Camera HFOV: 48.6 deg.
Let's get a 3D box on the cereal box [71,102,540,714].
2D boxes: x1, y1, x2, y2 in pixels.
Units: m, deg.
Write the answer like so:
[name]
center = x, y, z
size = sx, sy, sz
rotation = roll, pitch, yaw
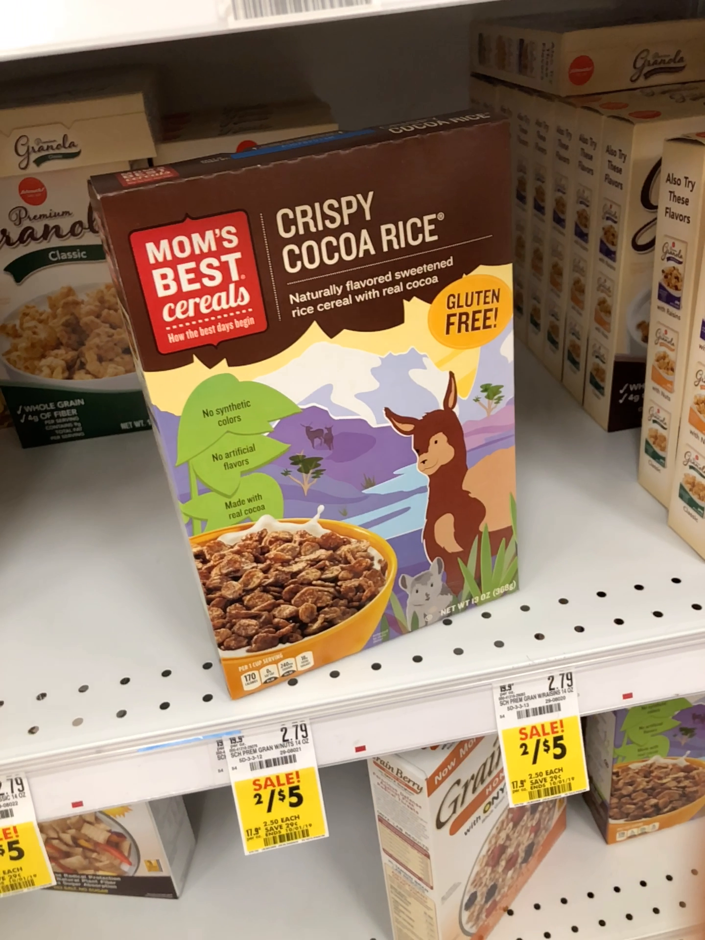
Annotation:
[cereal box]
center = -0.007, -0.032, 0.426
size = 0.200, 0.279, 0.080
rotation = -17, 30, -16
